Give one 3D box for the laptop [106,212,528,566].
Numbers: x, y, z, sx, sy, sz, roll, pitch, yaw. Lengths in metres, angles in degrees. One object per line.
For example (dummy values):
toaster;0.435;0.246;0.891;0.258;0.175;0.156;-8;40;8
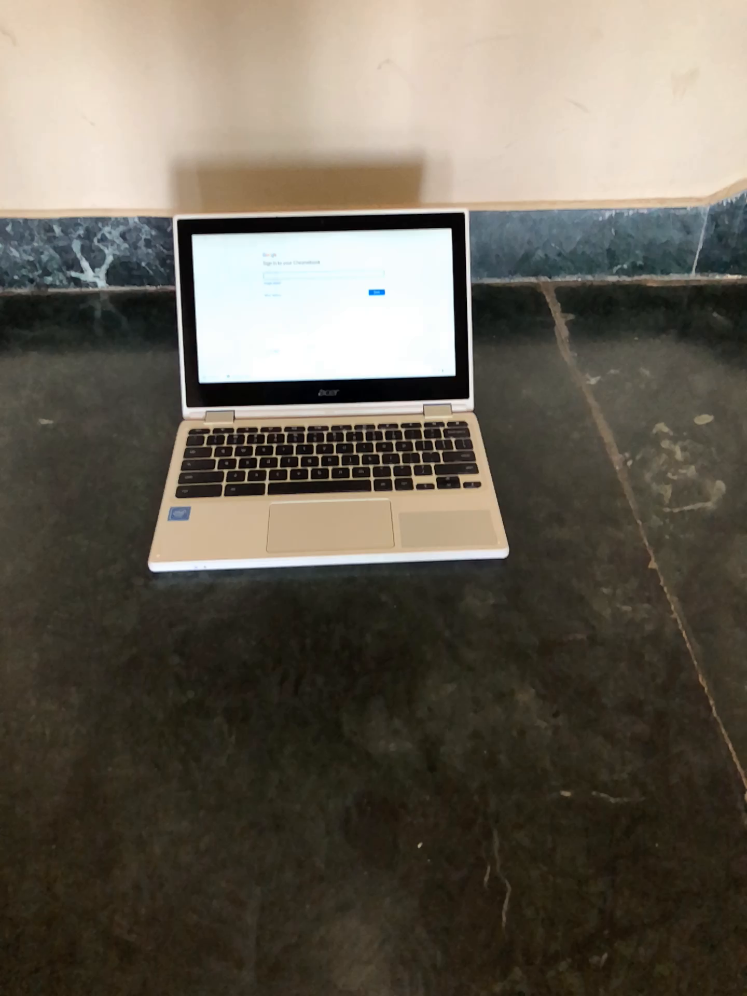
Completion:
laptop;-0.043;-0.112;0.719;0.280;0.156;0.316;-2;40;-3
